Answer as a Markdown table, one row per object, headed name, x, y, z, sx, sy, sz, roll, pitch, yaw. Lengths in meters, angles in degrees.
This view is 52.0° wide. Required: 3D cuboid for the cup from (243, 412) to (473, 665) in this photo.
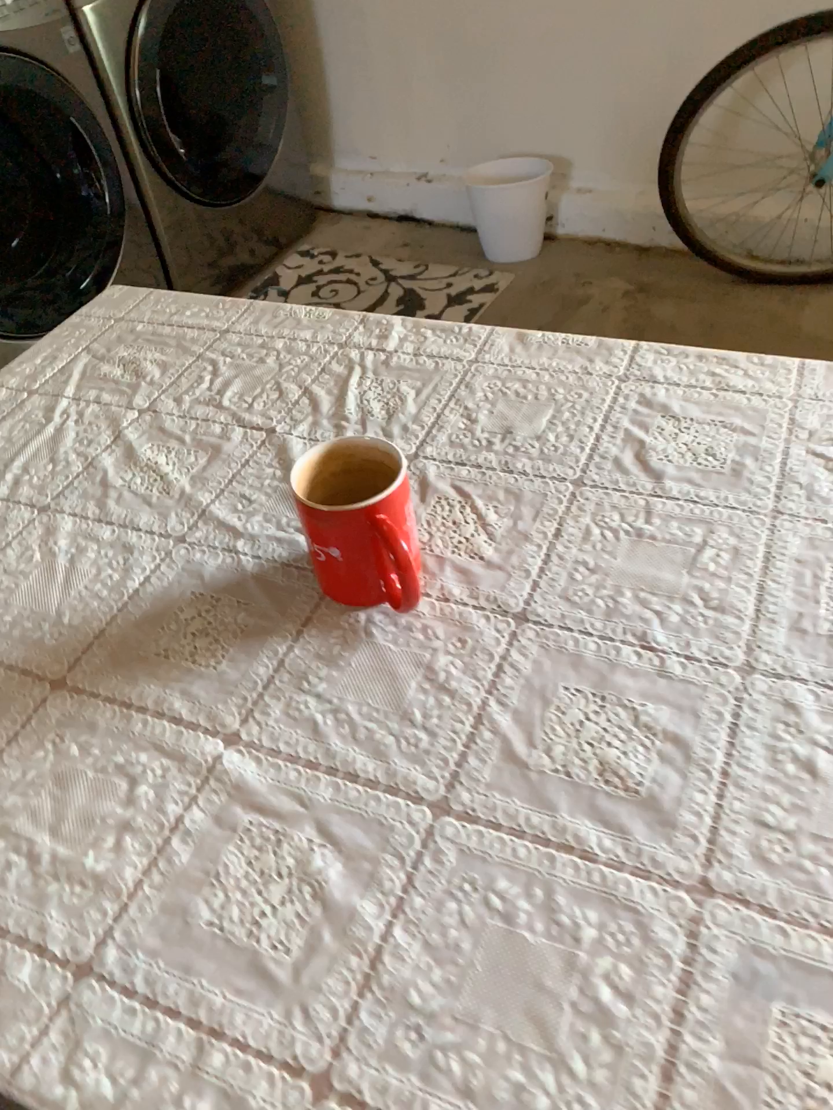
| name | x | y | z | sx | sy | sz | roll | pitch | yaw |
| --- | --- | --- | --- | --- | --- | --- | --- | --- | --- |
| cup | -0.040 | -0.015 | 0.587 | 0.090 | 0.090 | 0.131 | -30 | 47 | -18 |
